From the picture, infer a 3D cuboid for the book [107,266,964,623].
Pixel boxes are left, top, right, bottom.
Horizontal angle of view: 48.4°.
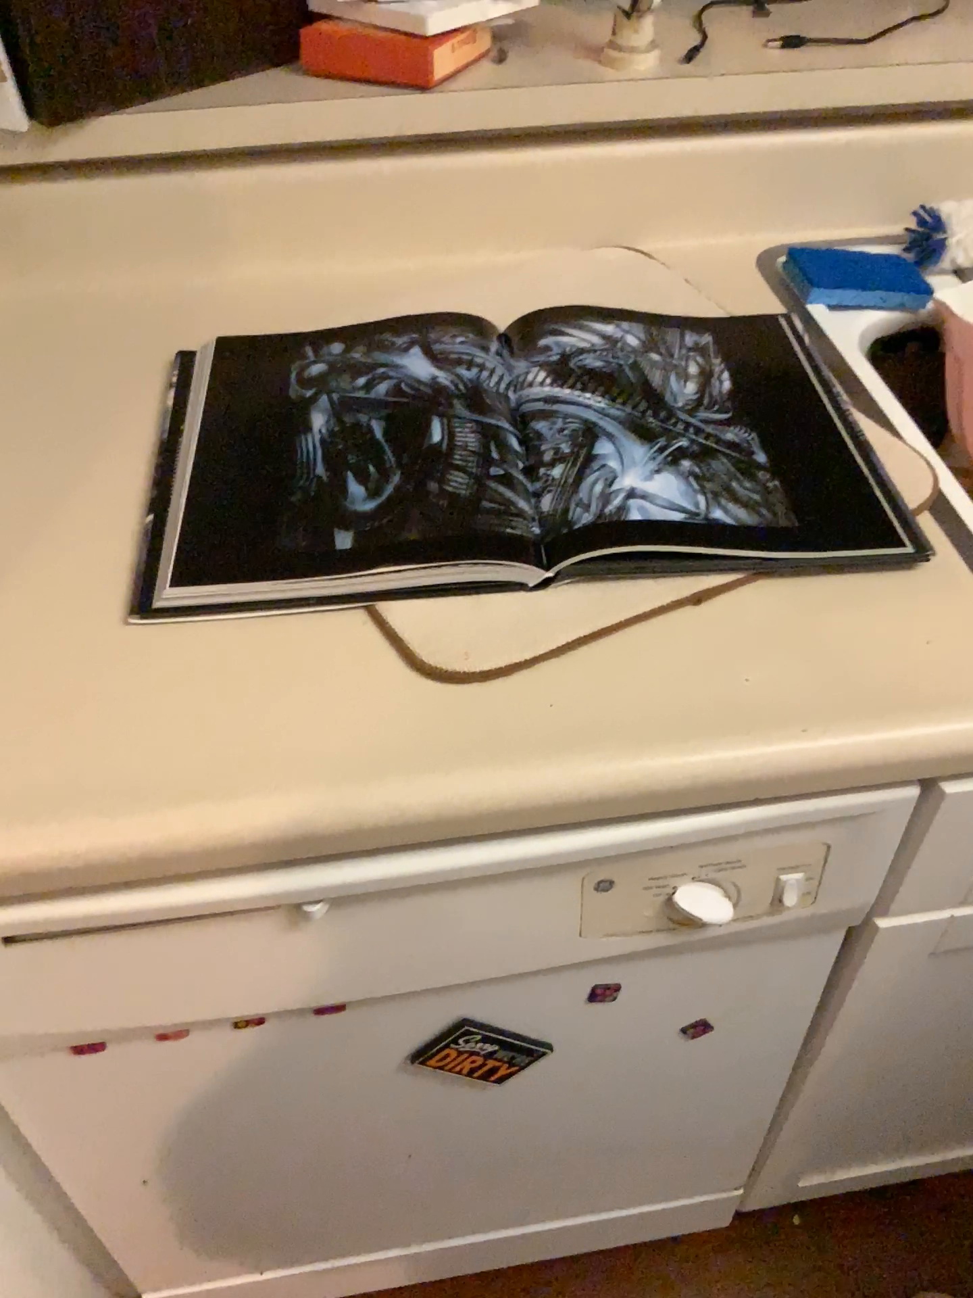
[{"bbox_3d":[0.021,-0.172,0.802,0.530,0.040,0.350,-4,45,-4],"label":"book"}]
